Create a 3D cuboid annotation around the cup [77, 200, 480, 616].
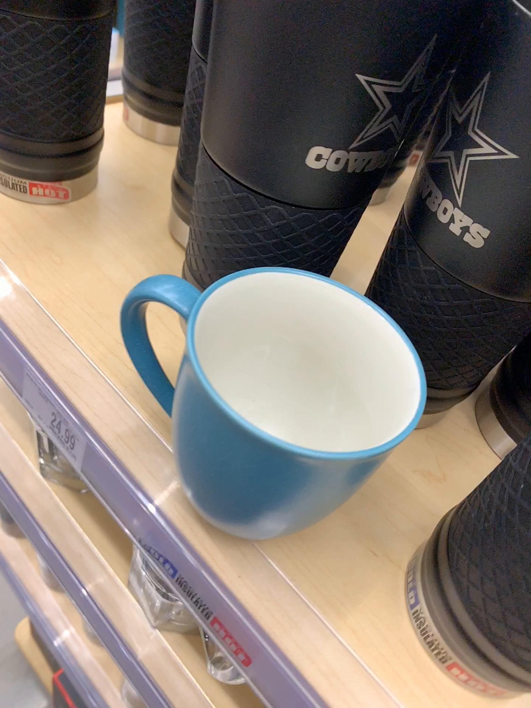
[{"bbox_3d":[-0.001,0.017,0.224,0.116,0.084,0.090,37,48,14],"label":"cup"}]
